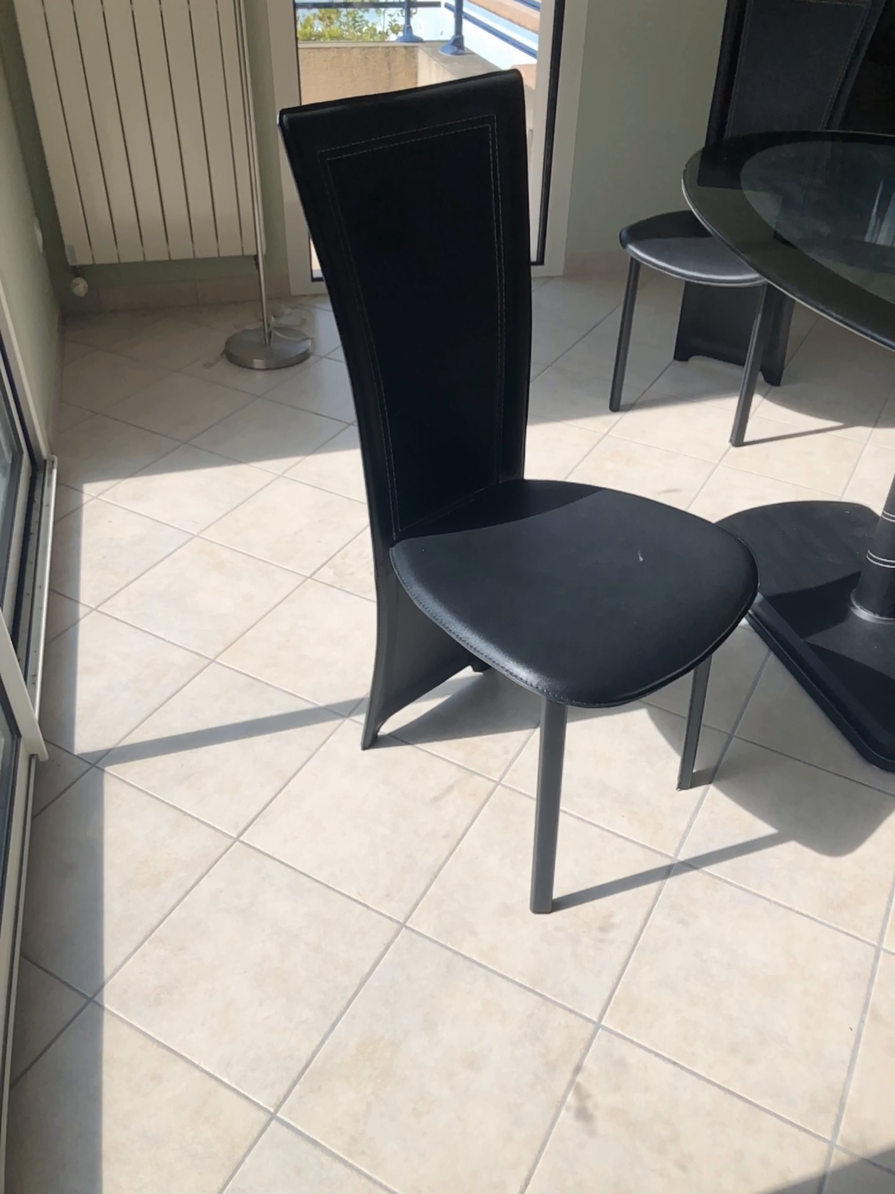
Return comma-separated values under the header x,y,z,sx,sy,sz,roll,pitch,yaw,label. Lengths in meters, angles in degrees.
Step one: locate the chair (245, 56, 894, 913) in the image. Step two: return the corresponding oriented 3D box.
x,y,z,sx,sy,sz,roll,pitch,yaw,label
0.124,-0.151,1.281,0.453,0.894,0.500,-30,46,-35,chair
